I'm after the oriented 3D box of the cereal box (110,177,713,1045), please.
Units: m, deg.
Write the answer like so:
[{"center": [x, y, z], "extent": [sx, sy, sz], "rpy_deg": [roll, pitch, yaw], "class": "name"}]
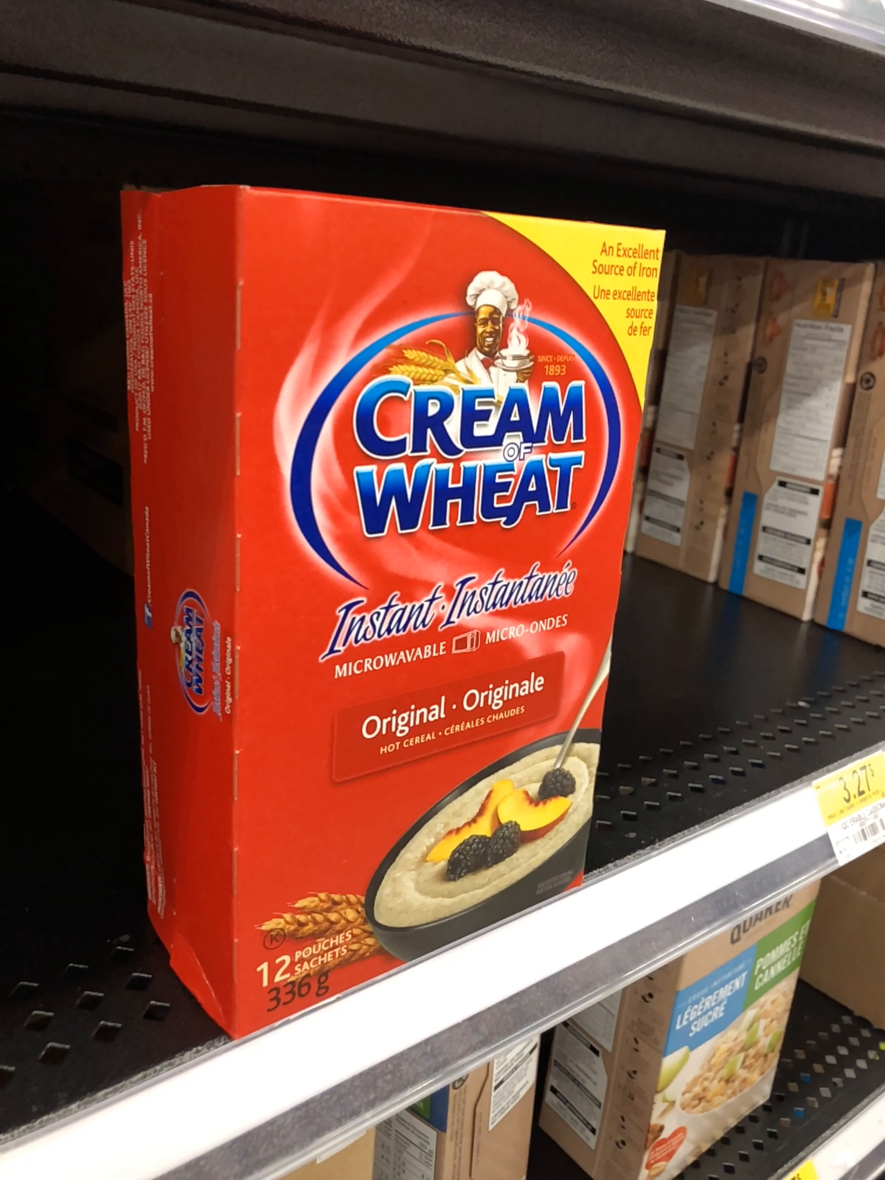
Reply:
[{"center": [-0.010, -0.001, 0.261], "extent": [0.130, 0.189, 0.060], "rpy_deg": [-10, 24, -36], "class": "cereal box"}]
